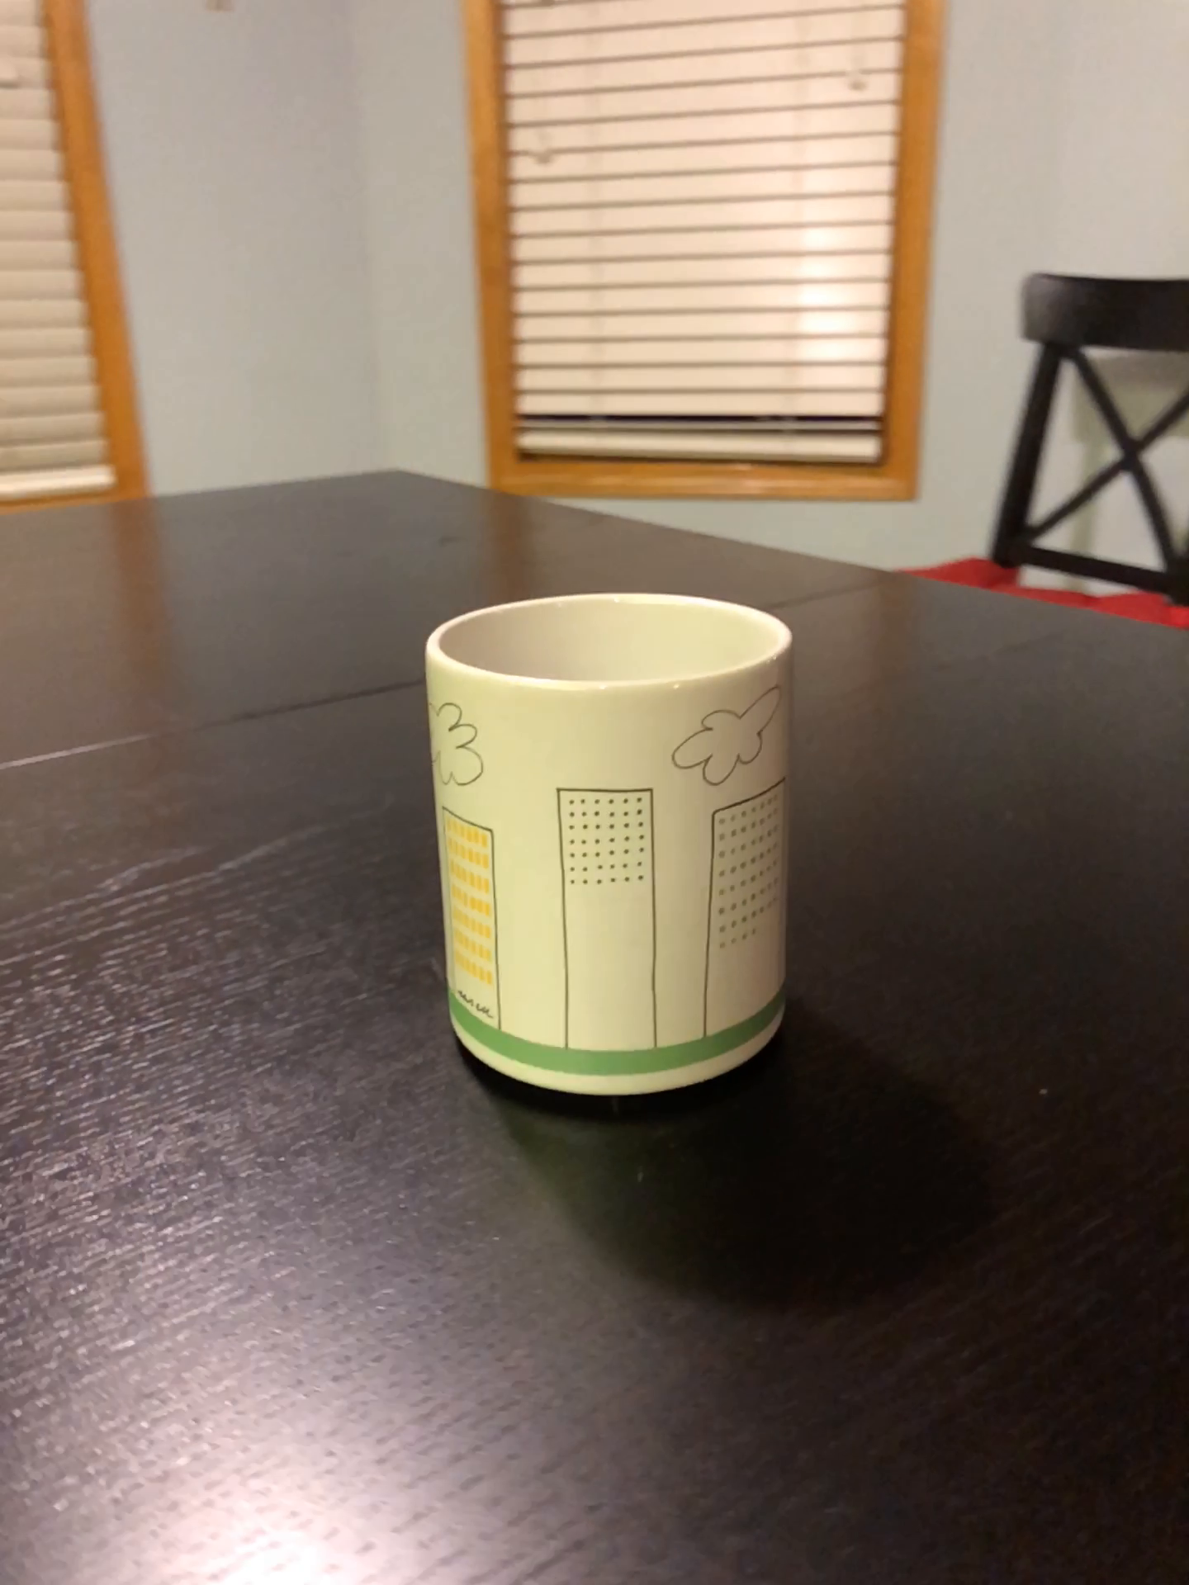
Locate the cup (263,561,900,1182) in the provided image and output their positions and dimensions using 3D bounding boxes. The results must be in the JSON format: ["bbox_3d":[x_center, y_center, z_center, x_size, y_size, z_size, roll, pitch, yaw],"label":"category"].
[{"bbox_3d":[-0.007,0.006,0.333,0.090,0.100,0.130,-17,25,-36],"label":"cup"}]
